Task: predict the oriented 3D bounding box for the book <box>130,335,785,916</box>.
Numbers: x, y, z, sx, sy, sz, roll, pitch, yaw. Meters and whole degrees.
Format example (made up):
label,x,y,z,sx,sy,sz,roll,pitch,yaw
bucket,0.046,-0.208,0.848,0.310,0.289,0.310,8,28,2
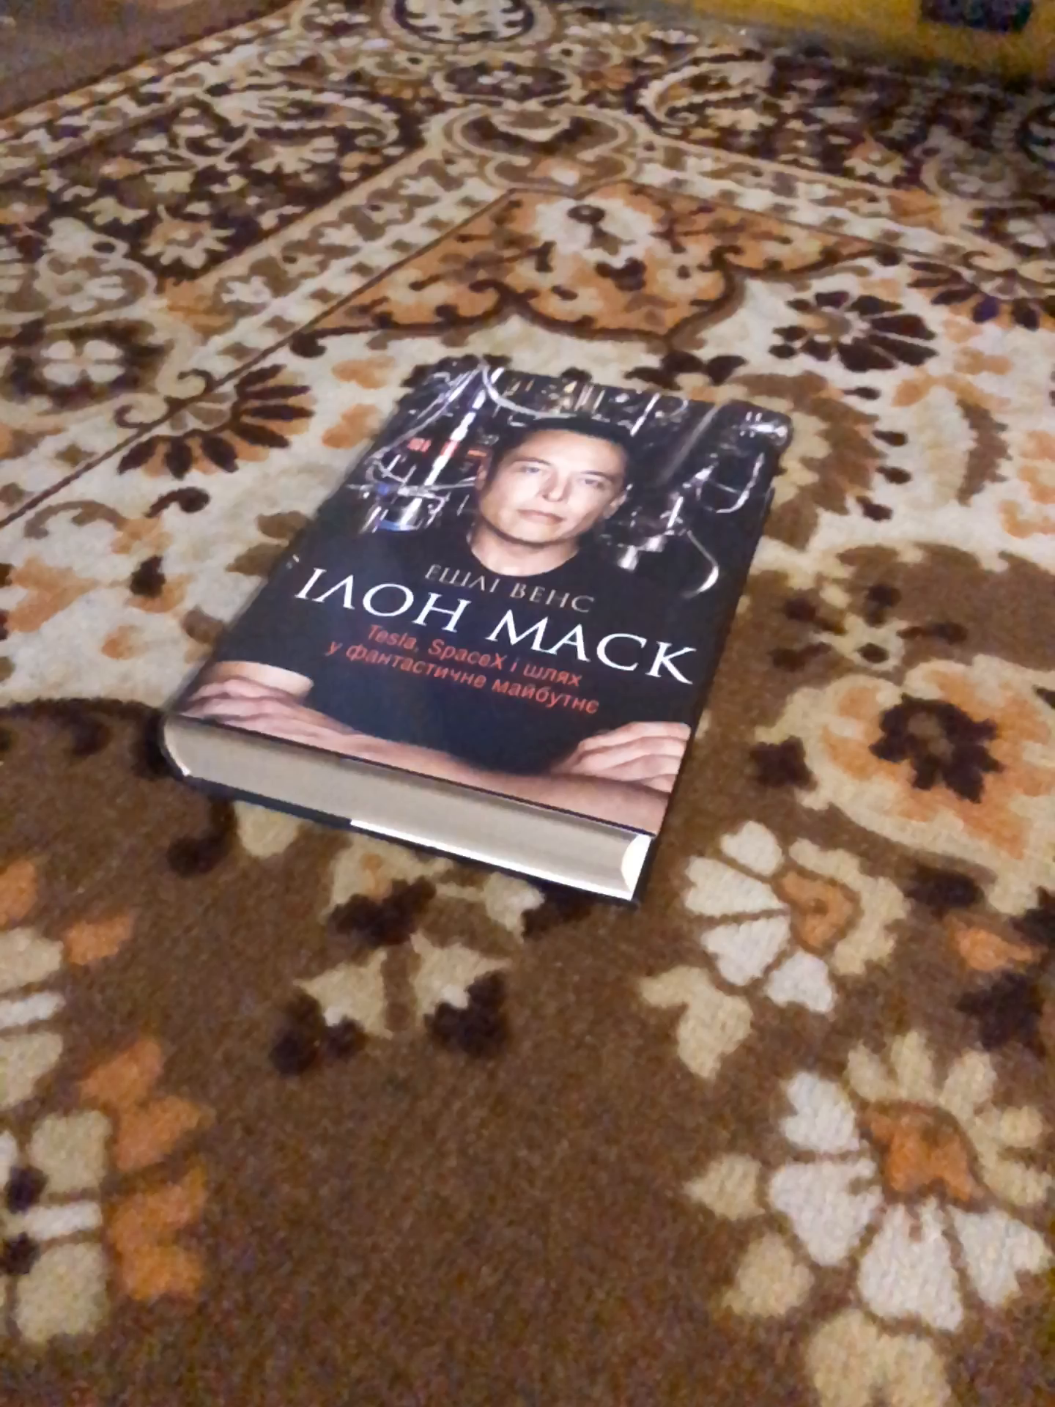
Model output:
label,x,y,z,sx,sy,sz,roll,pitch,yaw
book,-0.010,-0.053,0.477,0.184,0.050,0.252,13,48,12
